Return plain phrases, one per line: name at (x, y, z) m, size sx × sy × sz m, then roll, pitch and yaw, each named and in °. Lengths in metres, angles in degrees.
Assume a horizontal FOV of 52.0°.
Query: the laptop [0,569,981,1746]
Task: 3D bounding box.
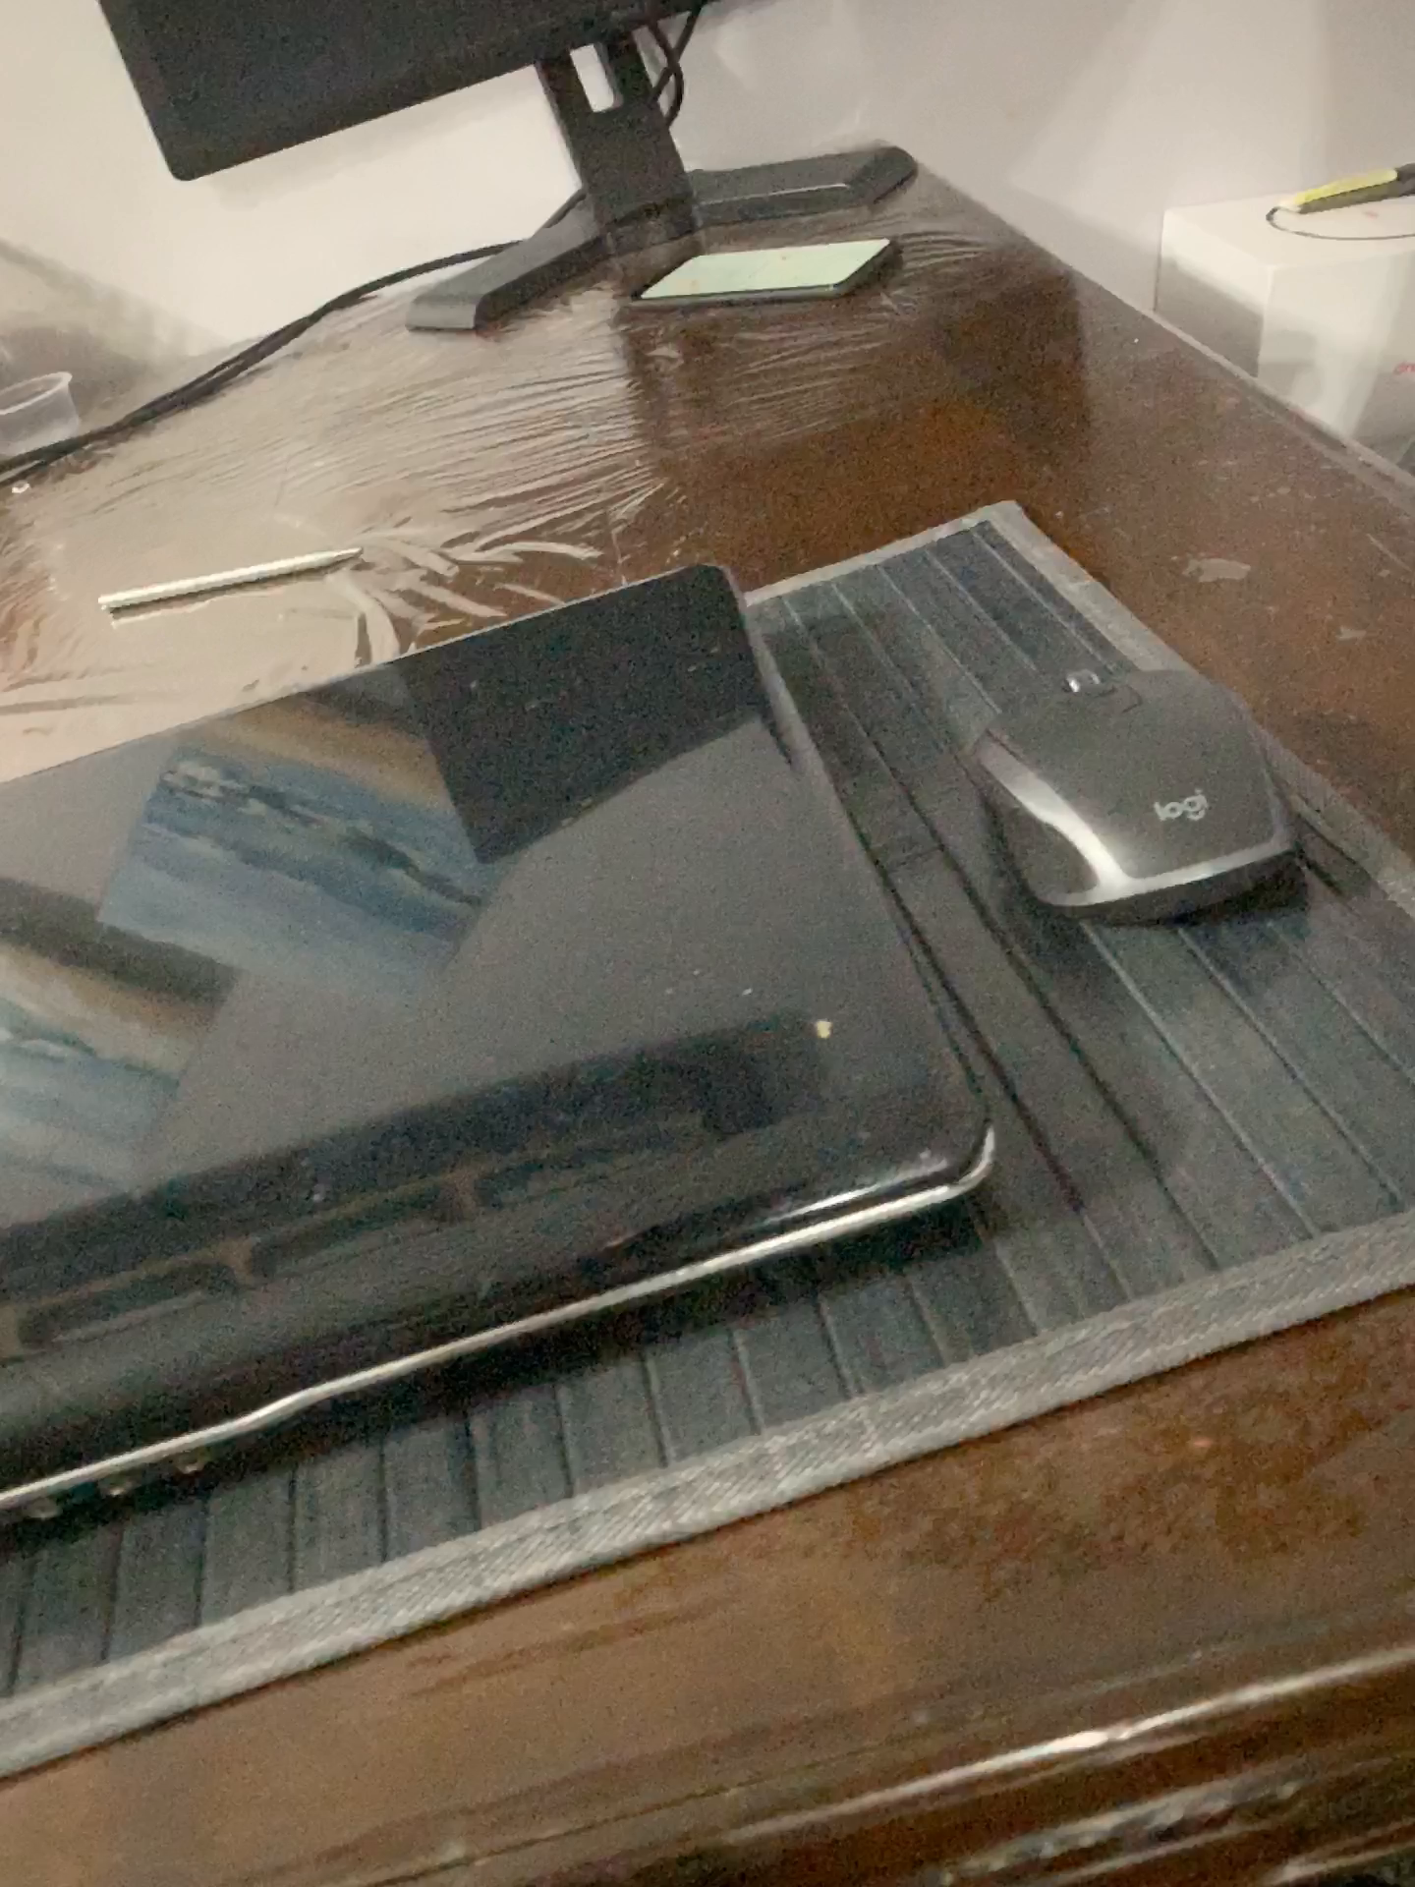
laptop at (-0.135, 0.013, 0.341) m, size 0.339 × 0.009 × 0.232 m, roll -17°, pitch 40°, yaw -2°
